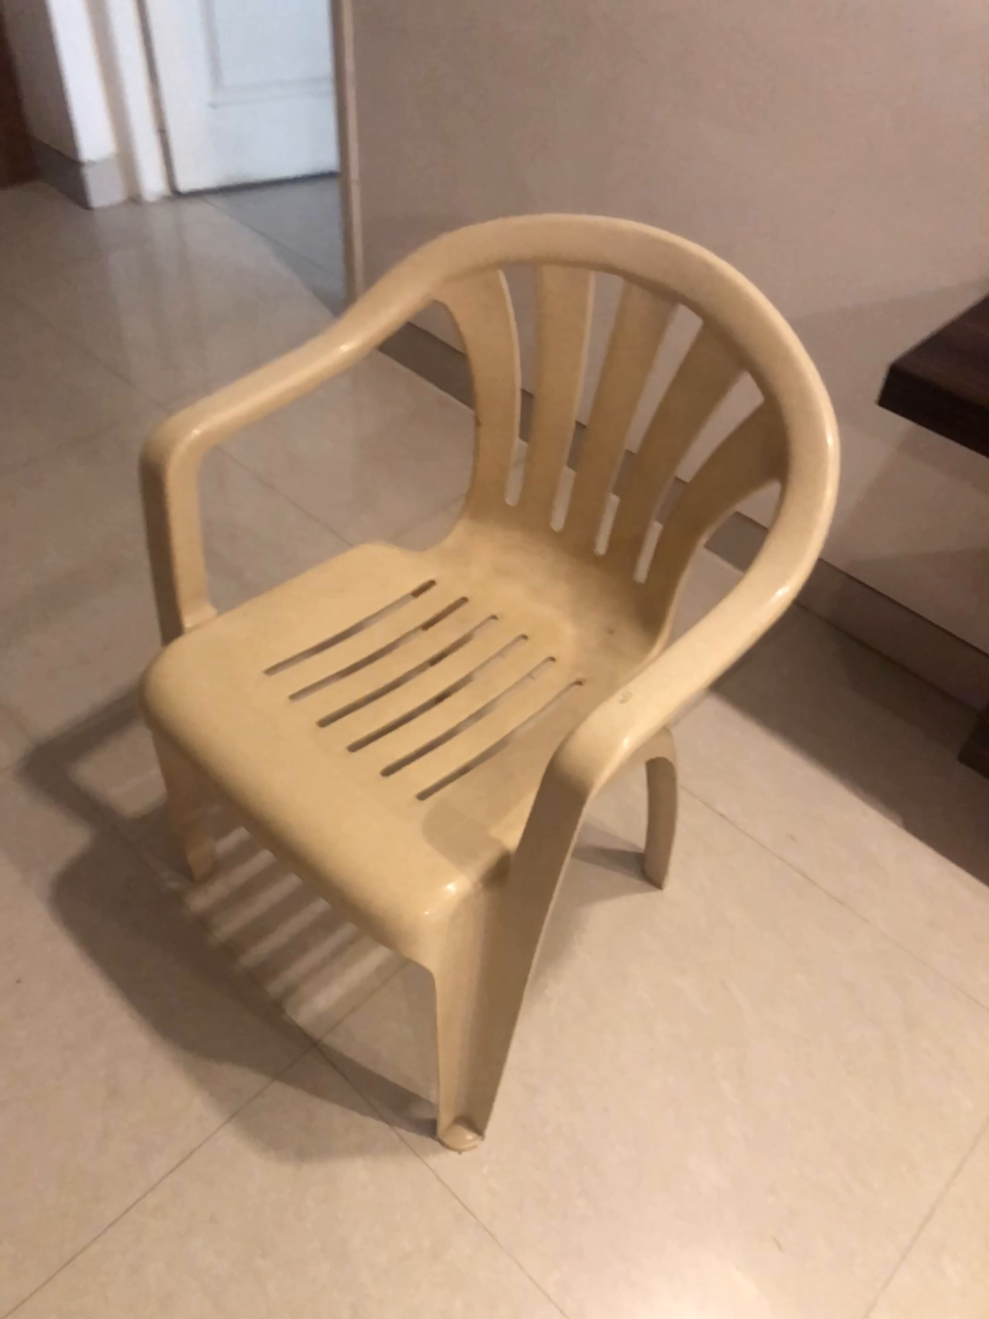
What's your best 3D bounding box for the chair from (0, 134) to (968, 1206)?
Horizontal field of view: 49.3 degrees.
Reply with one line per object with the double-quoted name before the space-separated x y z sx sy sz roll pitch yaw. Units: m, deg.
"chair" -0.036 0.009 1.139 0.572 0.775 0.592 35 54 27
